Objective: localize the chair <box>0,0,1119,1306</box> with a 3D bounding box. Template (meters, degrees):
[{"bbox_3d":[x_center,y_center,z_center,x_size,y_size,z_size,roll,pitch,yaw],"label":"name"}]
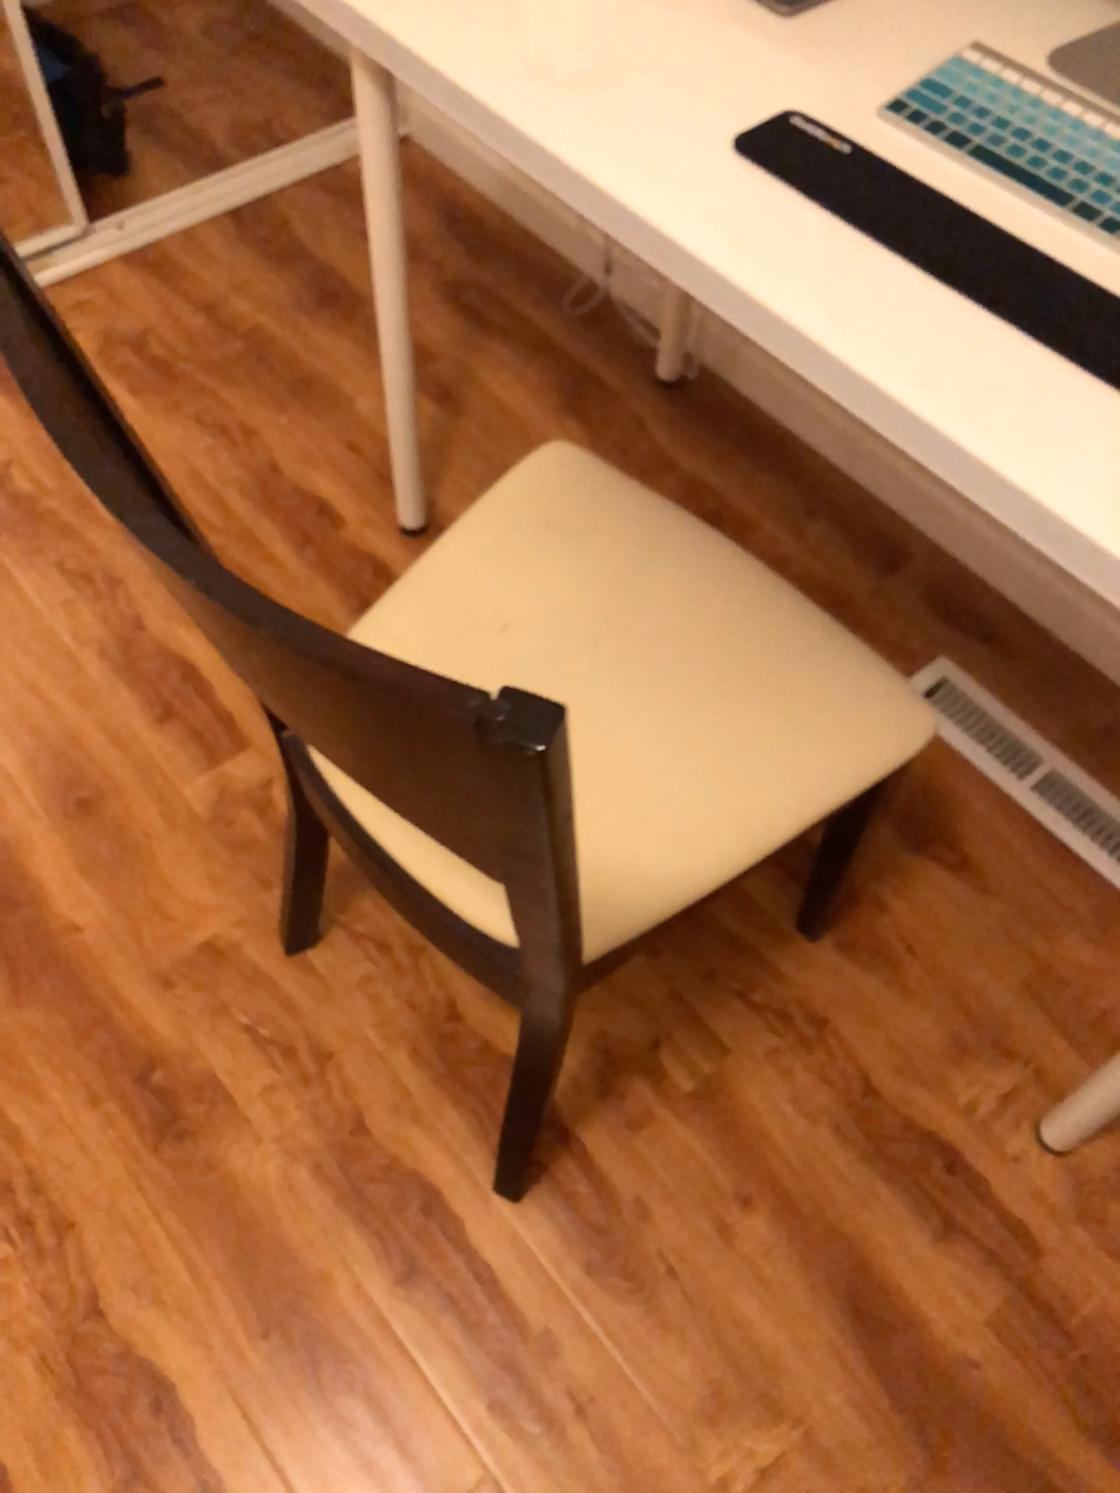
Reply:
[{"bbox_3d":[0.003,-0.086,1.025,0.661,0.886,0.571,-36,65,-23],"label":"chair"}]
